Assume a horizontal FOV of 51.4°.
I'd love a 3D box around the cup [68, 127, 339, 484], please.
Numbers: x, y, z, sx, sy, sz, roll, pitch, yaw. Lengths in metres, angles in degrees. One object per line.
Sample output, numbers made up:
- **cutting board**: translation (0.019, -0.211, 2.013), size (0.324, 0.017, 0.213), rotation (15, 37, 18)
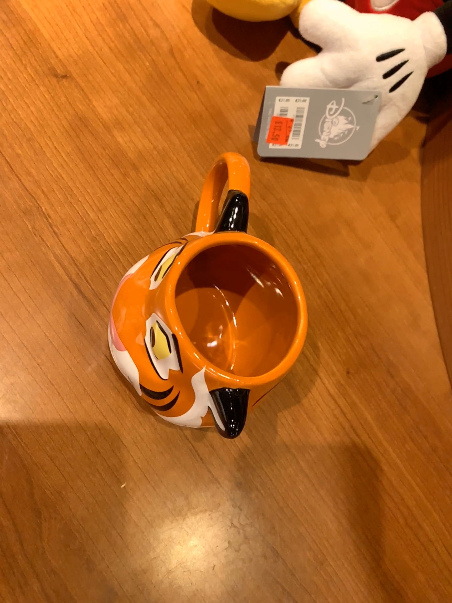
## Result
- **cup**: translation (-0.016, 0.011, 0.248), size (0.106, 0.087, 0.150), rotation (7, 72, -23)
